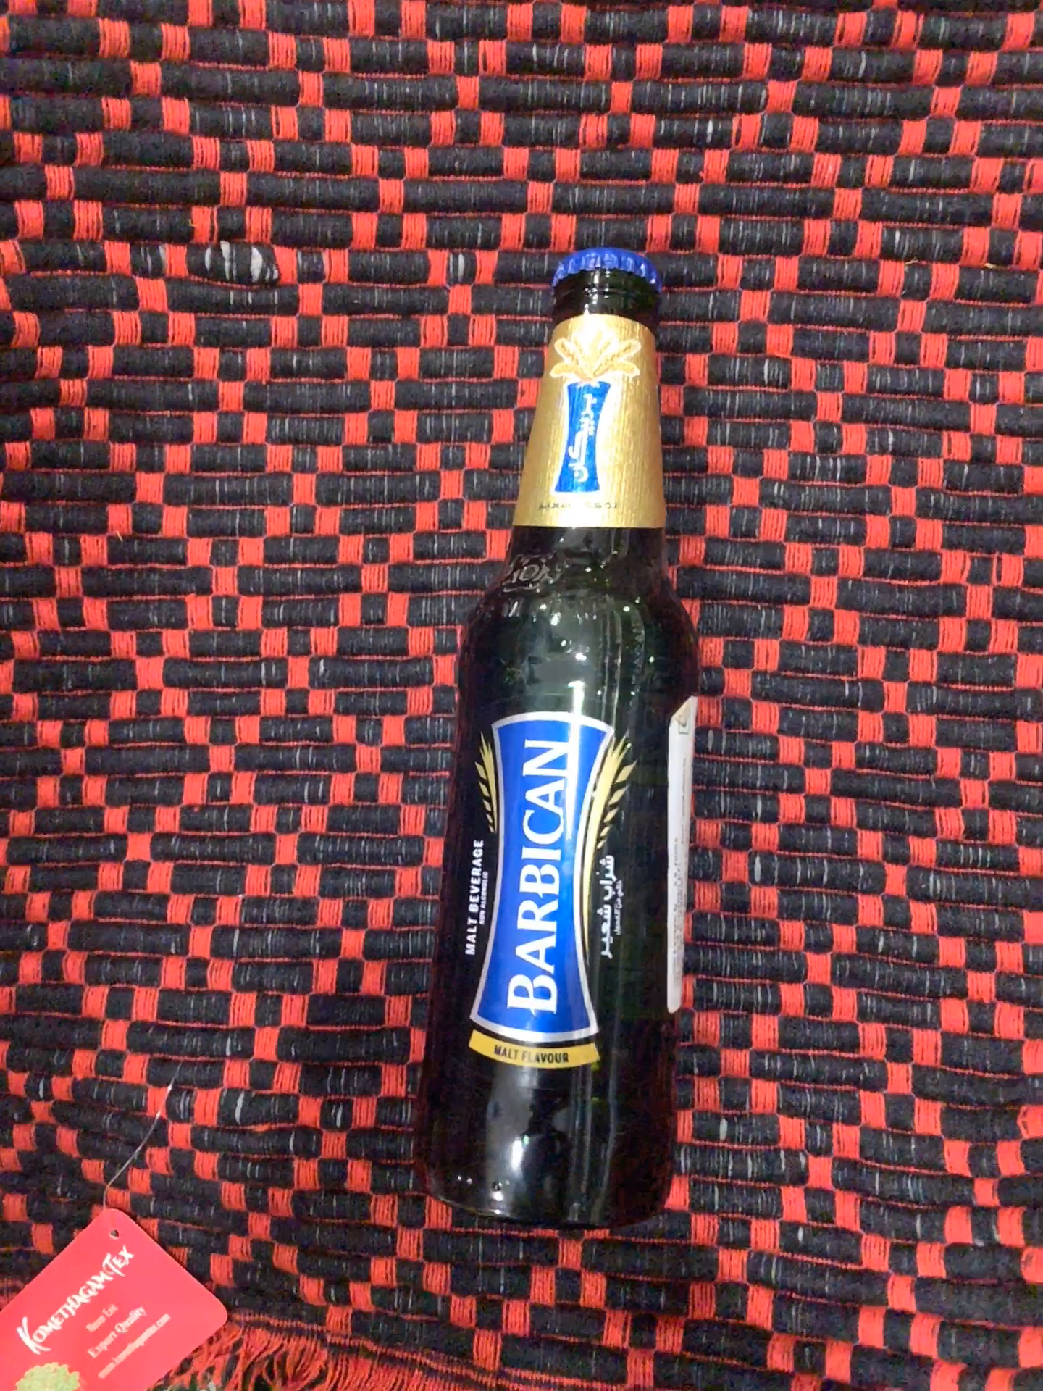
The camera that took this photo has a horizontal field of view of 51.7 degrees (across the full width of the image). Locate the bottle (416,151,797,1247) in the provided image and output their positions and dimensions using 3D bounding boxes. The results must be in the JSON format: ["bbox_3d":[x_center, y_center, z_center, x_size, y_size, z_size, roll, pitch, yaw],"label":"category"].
[{"bbox_3d":[0.020,-0.004,0.237,0.060,0.060,0.210,4,81,3],"label":"bottle"}]
